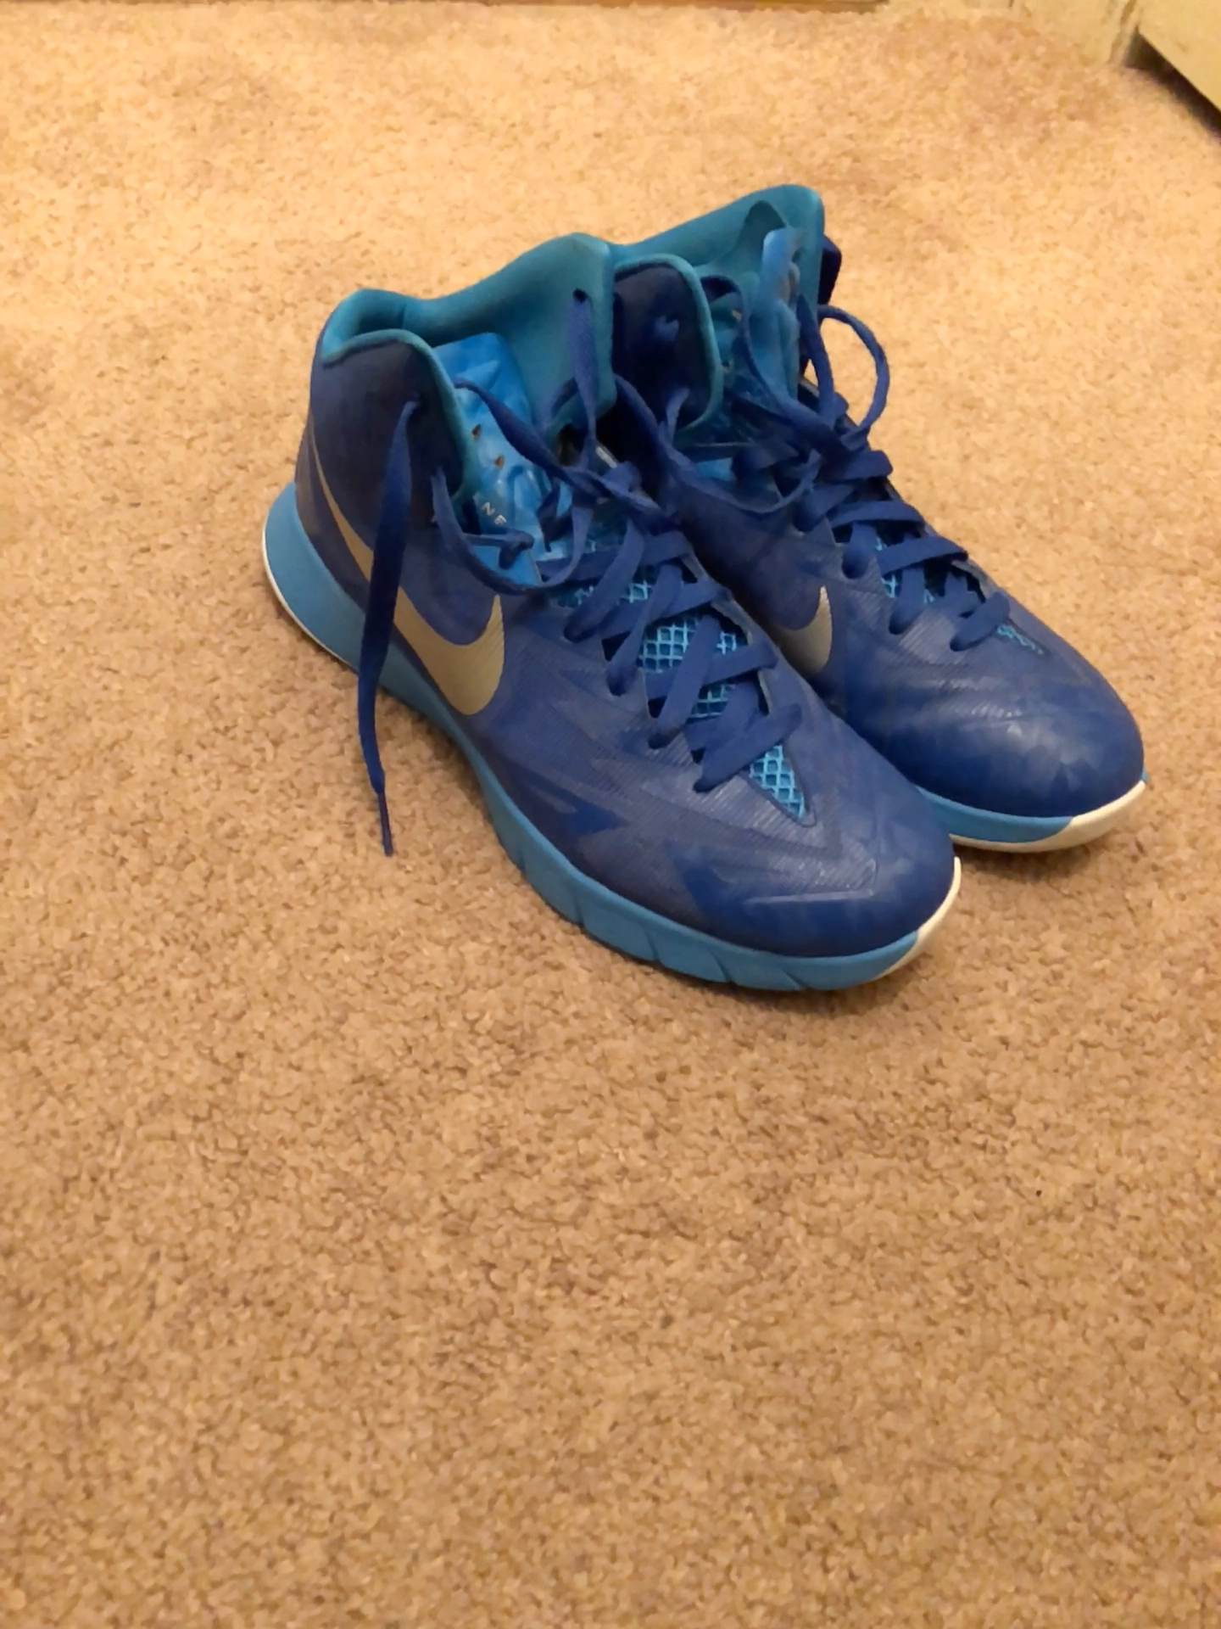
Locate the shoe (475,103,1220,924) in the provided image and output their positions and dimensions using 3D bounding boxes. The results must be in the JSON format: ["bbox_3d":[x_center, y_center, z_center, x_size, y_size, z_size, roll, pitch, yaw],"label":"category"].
[{"bbox_3d":[0.096,-0.118,0.490,0.280,0.134,0.122,39,56,20],"label":"shoe"}]

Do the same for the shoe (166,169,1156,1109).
[{"bbox_3d":[-0.001,-0.067,0.436,0.279,0.134,0.121,40,57,21],"label":"shoe"}]
